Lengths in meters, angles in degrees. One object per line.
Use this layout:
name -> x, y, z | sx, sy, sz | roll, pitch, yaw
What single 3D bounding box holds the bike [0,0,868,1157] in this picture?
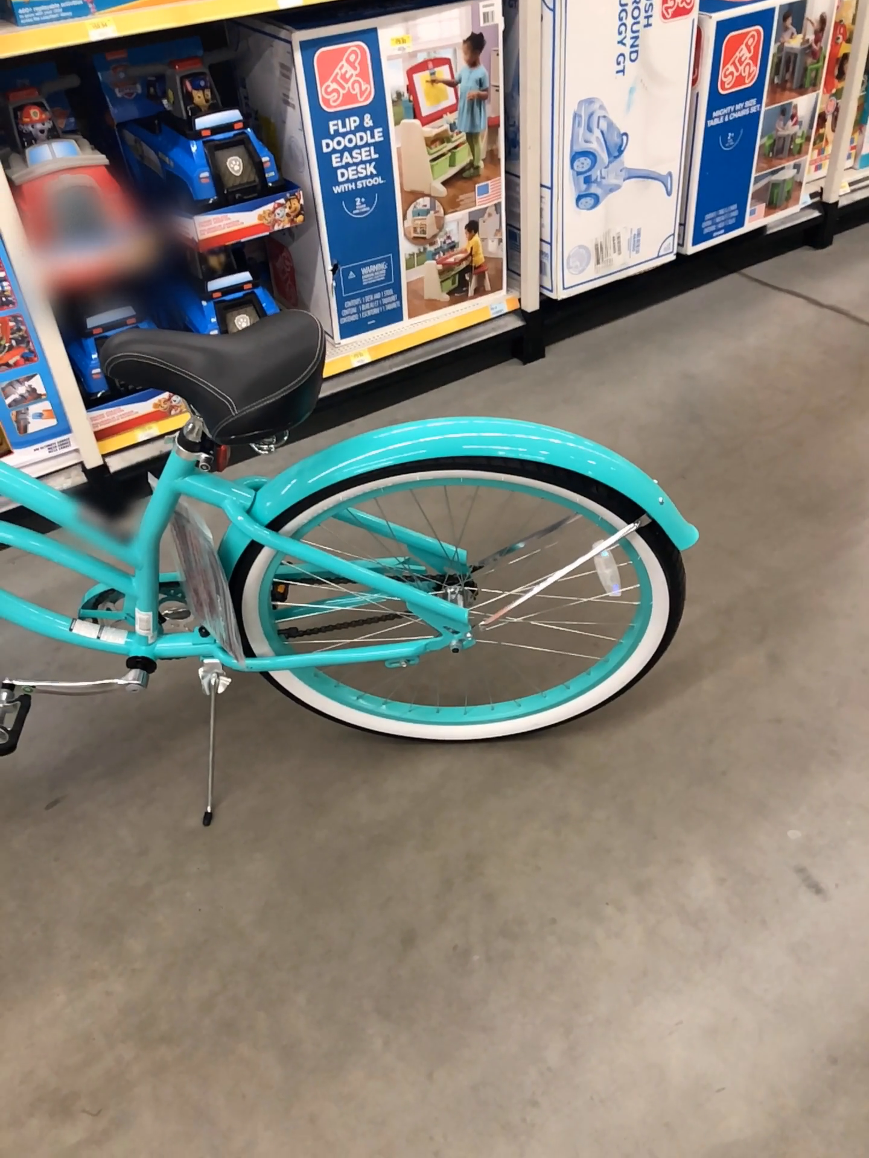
bike -> -0.483, 0.015, 1.096 | 1.491, 1.144, 0.762 | -11, 40, -2
